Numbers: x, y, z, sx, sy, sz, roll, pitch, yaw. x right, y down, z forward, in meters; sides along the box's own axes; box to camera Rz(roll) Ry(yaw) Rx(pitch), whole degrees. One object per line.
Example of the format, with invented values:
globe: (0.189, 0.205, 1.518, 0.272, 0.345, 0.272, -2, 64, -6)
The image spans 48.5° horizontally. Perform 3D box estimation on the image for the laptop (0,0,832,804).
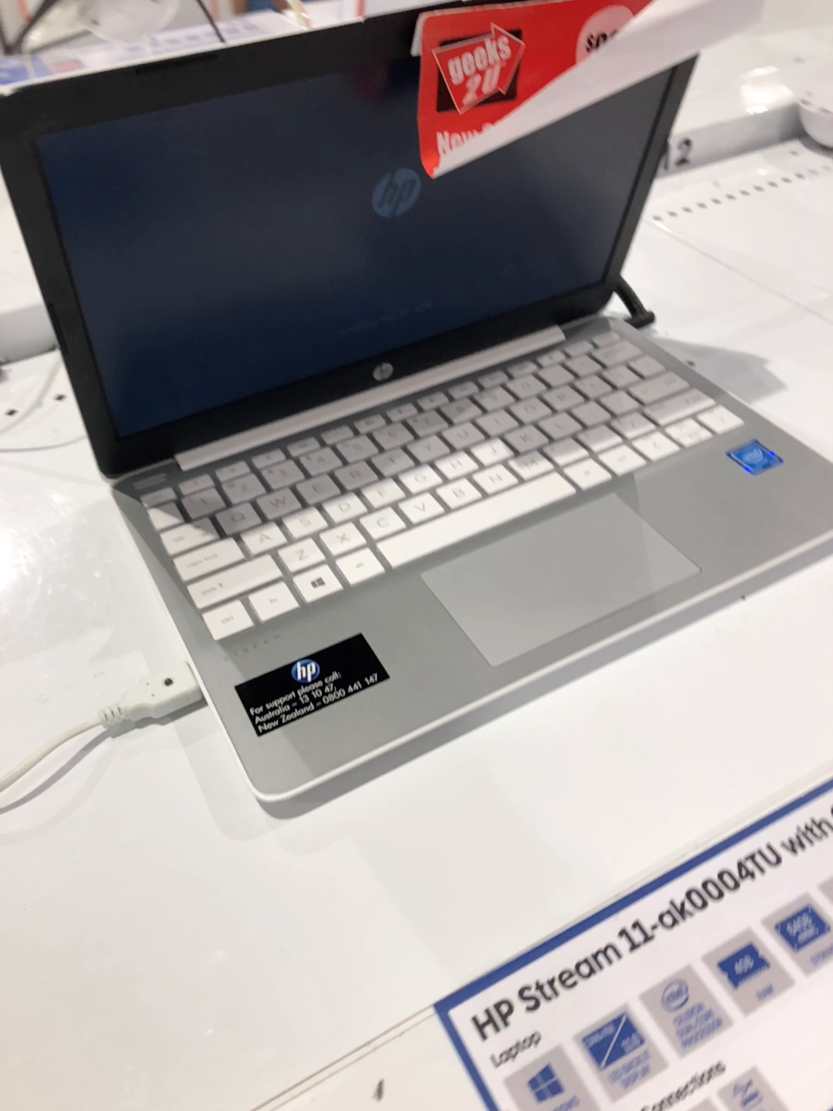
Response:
laptop: (0.026, -0.090, 0.335, 0.273, 0.173, 0.184, -23, 47, -20)
